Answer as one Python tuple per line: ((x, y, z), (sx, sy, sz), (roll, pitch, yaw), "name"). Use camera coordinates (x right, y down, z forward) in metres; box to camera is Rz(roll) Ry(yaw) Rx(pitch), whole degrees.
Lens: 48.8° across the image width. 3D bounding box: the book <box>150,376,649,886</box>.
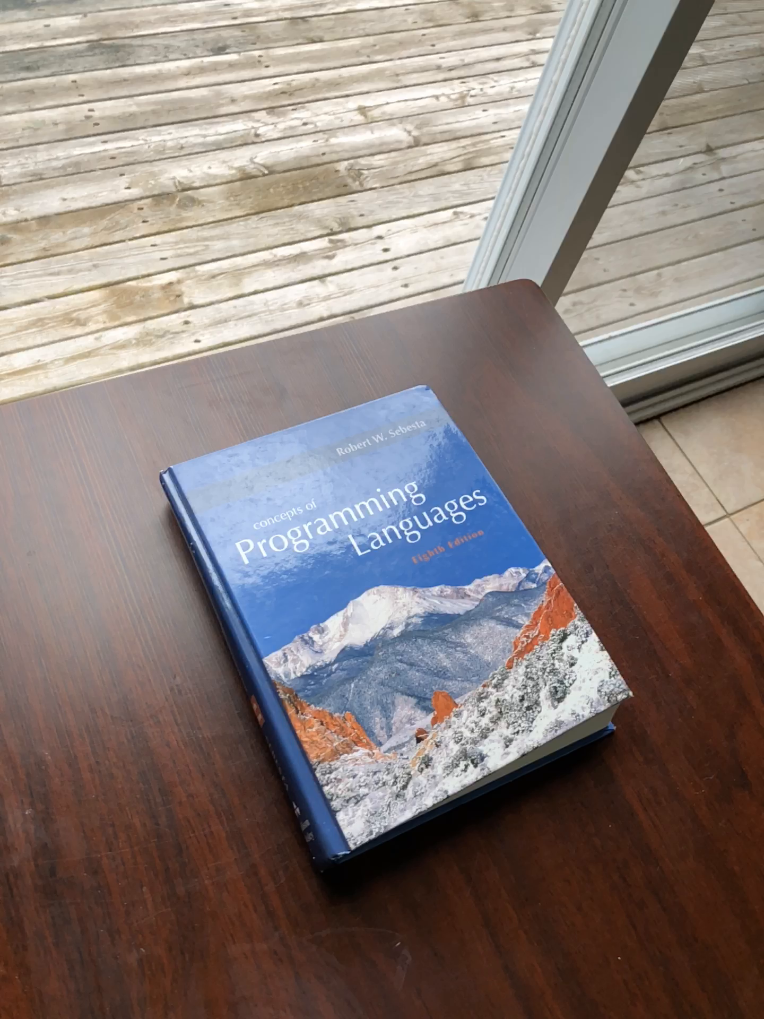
((0.003, 0.052, 0.483), (0.195, 0.048, 0.236), (-19, 66, -21), "book")
